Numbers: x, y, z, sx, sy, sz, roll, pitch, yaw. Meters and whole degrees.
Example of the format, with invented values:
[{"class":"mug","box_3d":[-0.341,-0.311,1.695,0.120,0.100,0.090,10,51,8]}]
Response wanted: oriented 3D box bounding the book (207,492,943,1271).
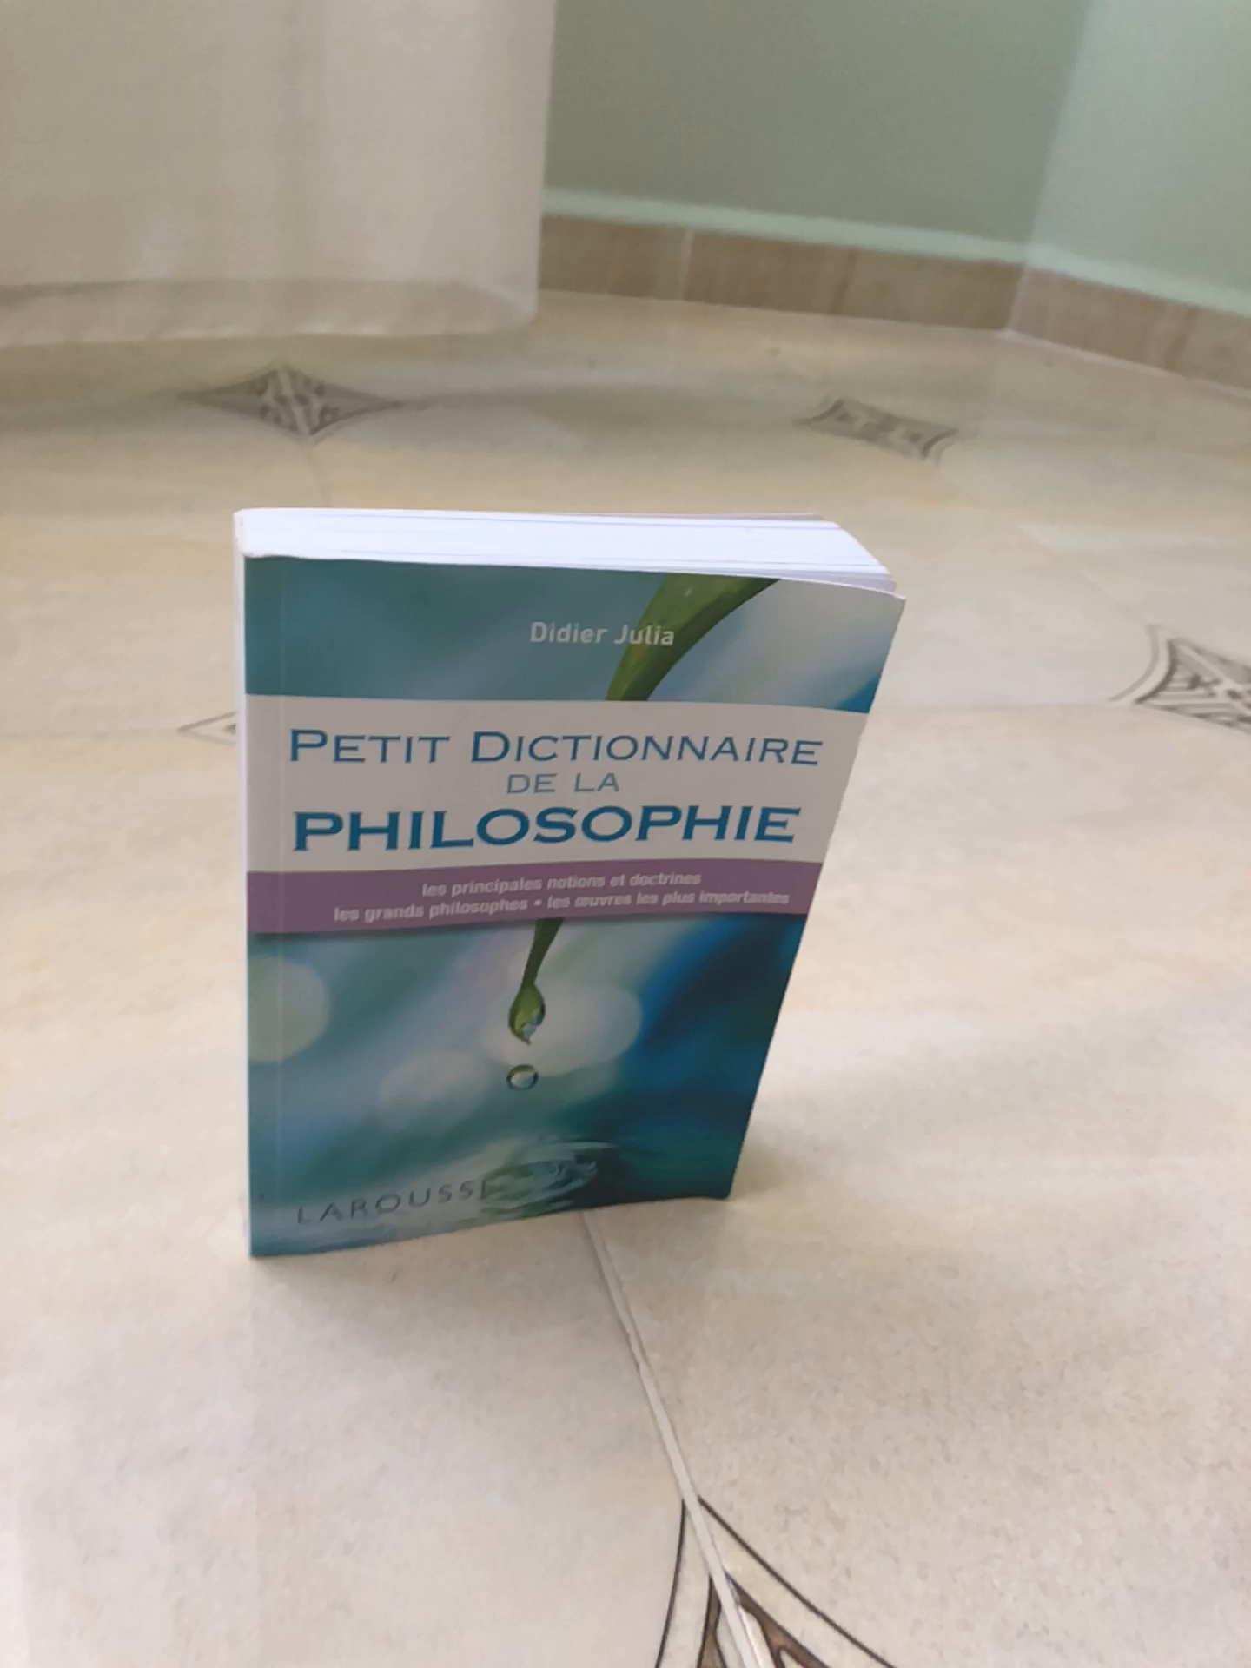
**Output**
[{"class":"book","box_3d":[-0.021,0.018,0.321,0.140,0.185,0.035,-3,36,-18]}]
